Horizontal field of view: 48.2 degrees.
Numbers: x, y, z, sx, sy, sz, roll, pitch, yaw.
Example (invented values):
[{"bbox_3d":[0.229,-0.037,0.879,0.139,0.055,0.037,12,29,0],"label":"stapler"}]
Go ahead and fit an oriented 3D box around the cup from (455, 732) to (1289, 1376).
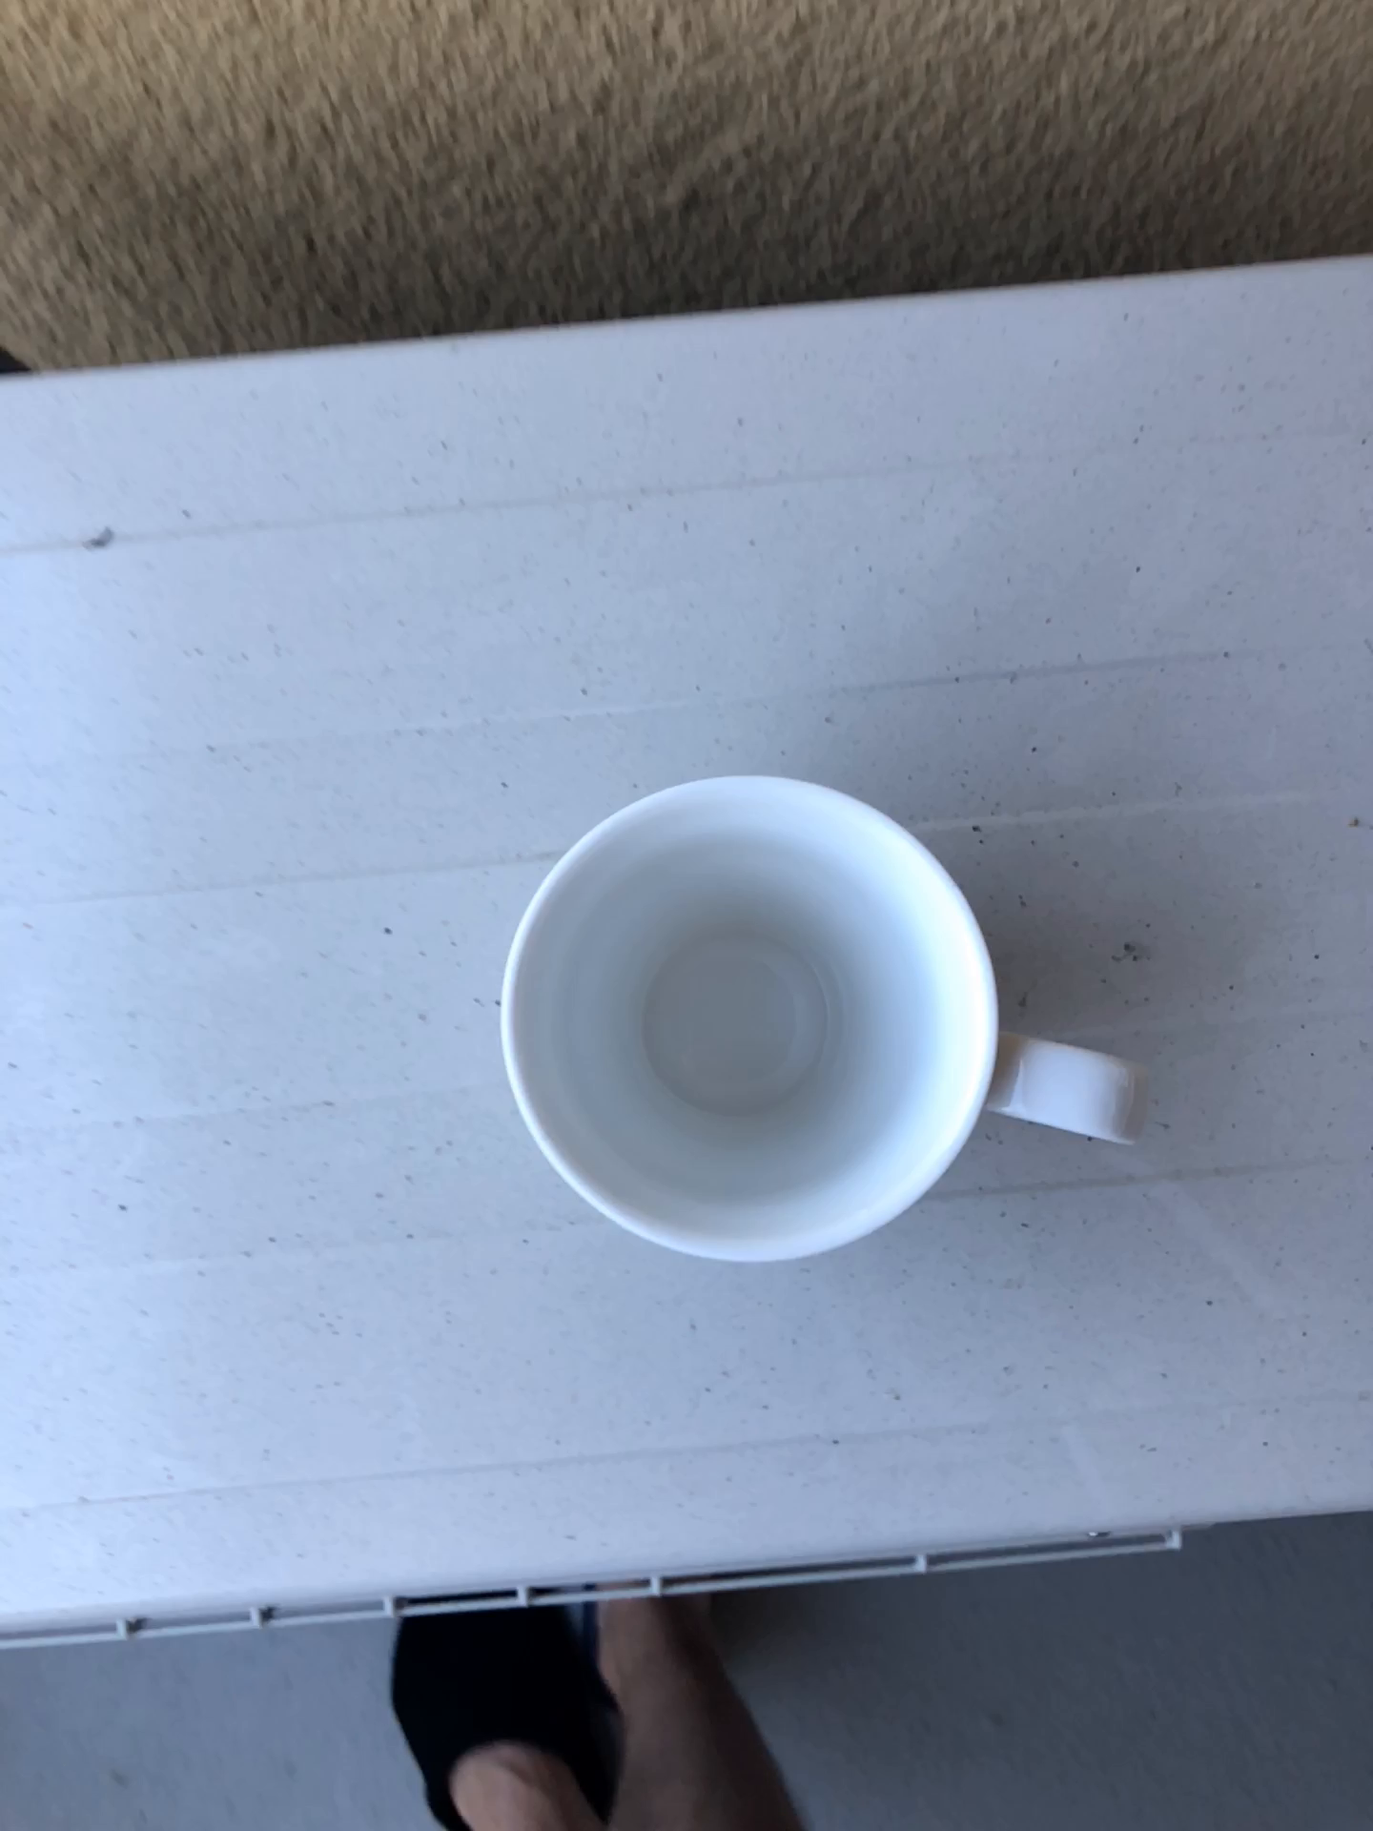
[{"bbox_3d":[0.034,0.029,0.323,0.140,0.100,0.100,6,84,0],"label":"cup"}]
